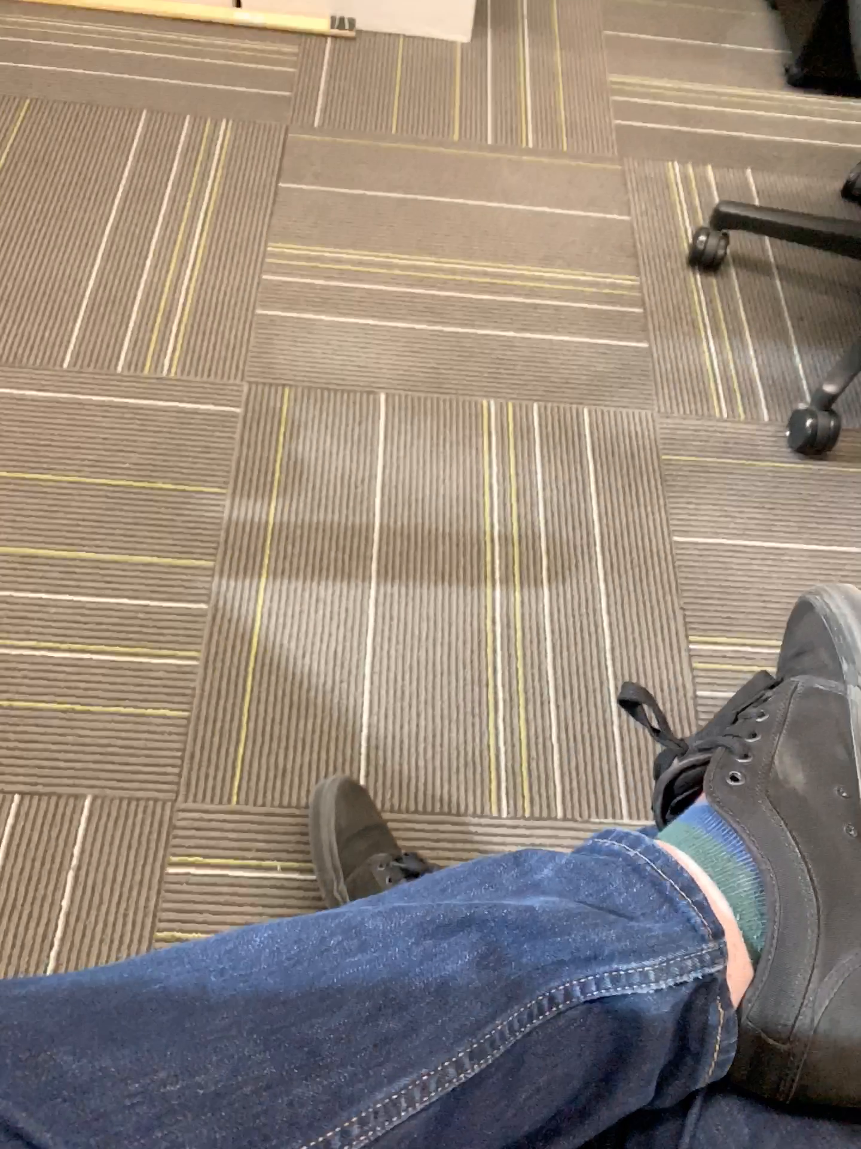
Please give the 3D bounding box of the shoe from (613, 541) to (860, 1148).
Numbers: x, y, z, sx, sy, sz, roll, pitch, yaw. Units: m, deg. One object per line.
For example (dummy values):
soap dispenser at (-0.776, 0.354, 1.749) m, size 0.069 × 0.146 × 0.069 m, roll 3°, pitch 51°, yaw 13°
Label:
shoe at (0.187, 0.133, 0.466) m, size 0.134 × 0.120 × 0.260 m, roll 10°, pitch 59°, yaw 9°
